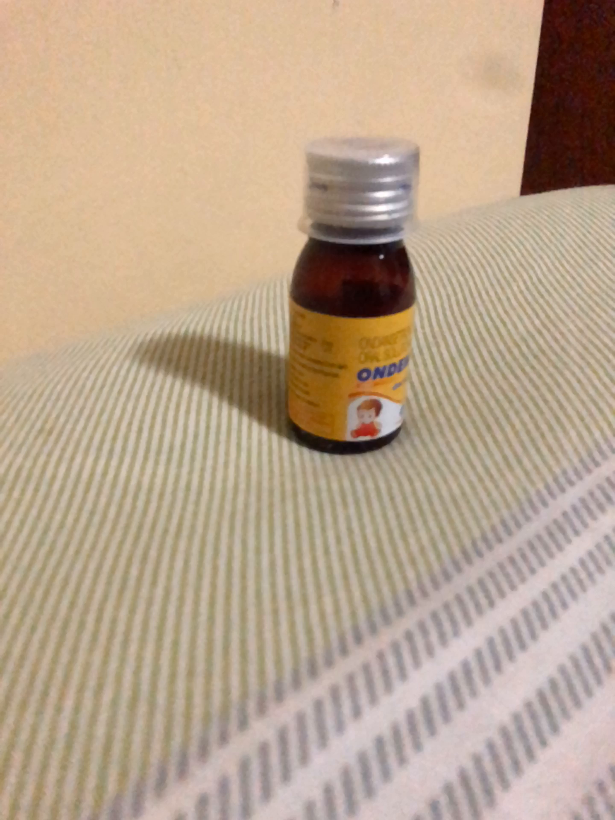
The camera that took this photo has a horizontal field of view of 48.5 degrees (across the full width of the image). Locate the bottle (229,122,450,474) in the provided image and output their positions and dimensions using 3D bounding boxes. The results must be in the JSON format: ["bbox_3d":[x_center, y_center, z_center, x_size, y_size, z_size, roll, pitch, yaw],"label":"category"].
[{"bbox_3d":[0.007,-0.029,0.176,0.037,0.076,0.038,-1,31,1],"label":"bottle"}]
